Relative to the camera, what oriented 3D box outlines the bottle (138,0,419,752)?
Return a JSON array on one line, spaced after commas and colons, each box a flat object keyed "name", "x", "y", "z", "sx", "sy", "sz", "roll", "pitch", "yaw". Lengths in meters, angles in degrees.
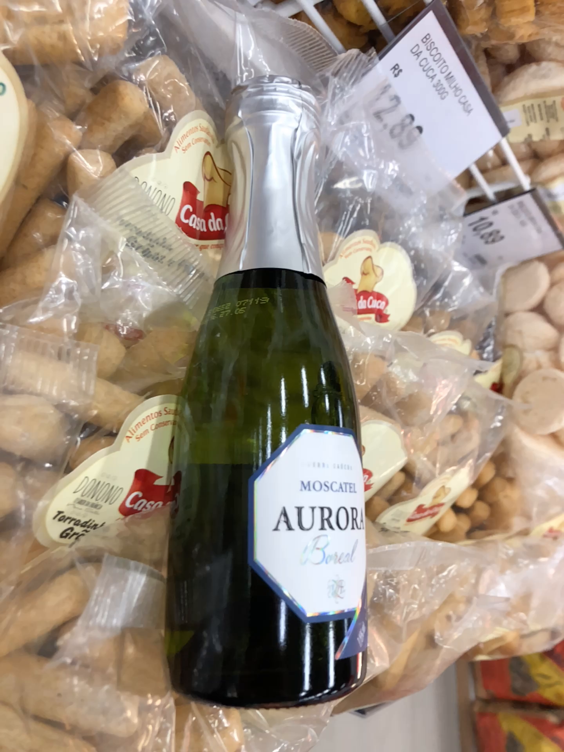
[{"name": "bottle", "x": 0.005, "y": -0.011, "z": 0.187, "sx": 0.060, "sy": 0.050, "sz": 0.200, "roll": 15, "pitch": 75, "yaw": -56}]
